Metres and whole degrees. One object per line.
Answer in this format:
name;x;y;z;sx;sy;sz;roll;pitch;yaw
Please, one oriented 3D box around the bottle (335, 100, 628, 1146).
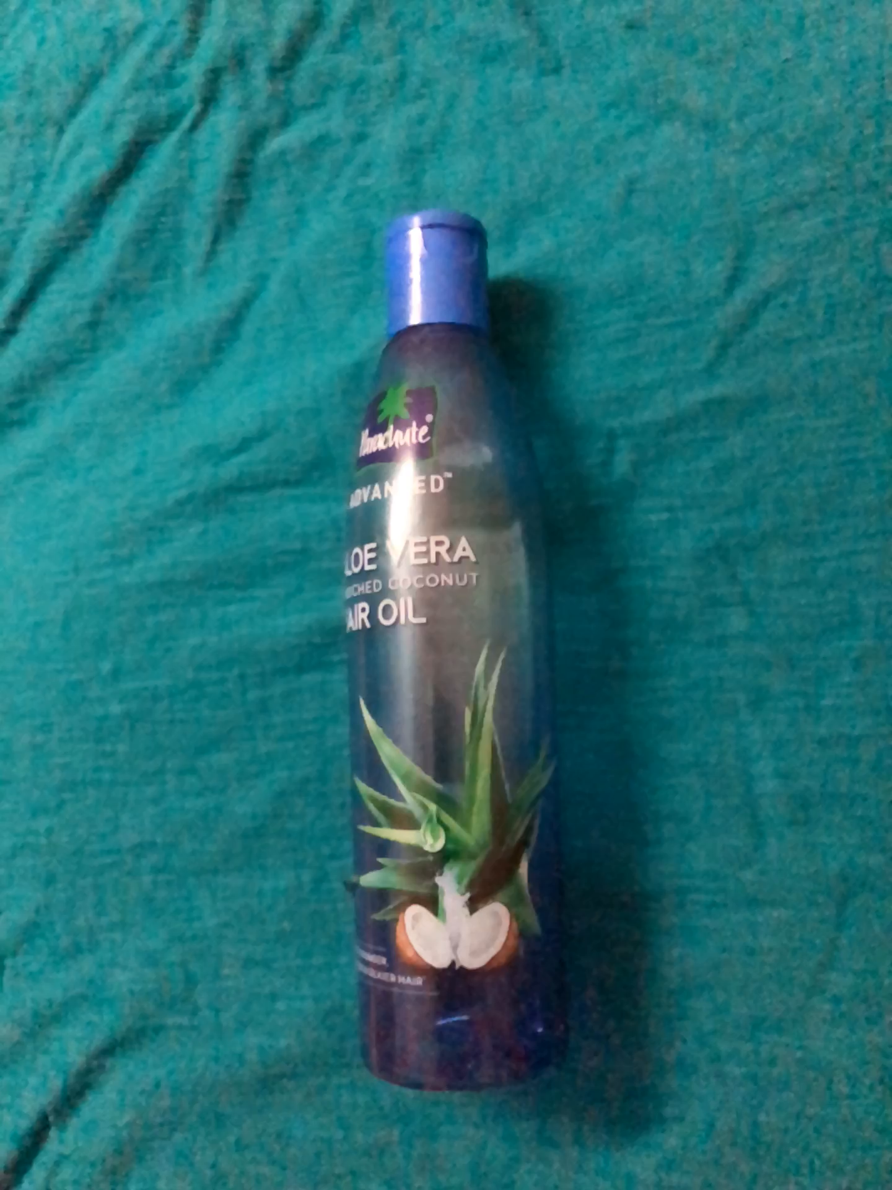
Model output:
bottle;0.007;0.002;0.230;0.050;0.040;0.210;-5;81;31
